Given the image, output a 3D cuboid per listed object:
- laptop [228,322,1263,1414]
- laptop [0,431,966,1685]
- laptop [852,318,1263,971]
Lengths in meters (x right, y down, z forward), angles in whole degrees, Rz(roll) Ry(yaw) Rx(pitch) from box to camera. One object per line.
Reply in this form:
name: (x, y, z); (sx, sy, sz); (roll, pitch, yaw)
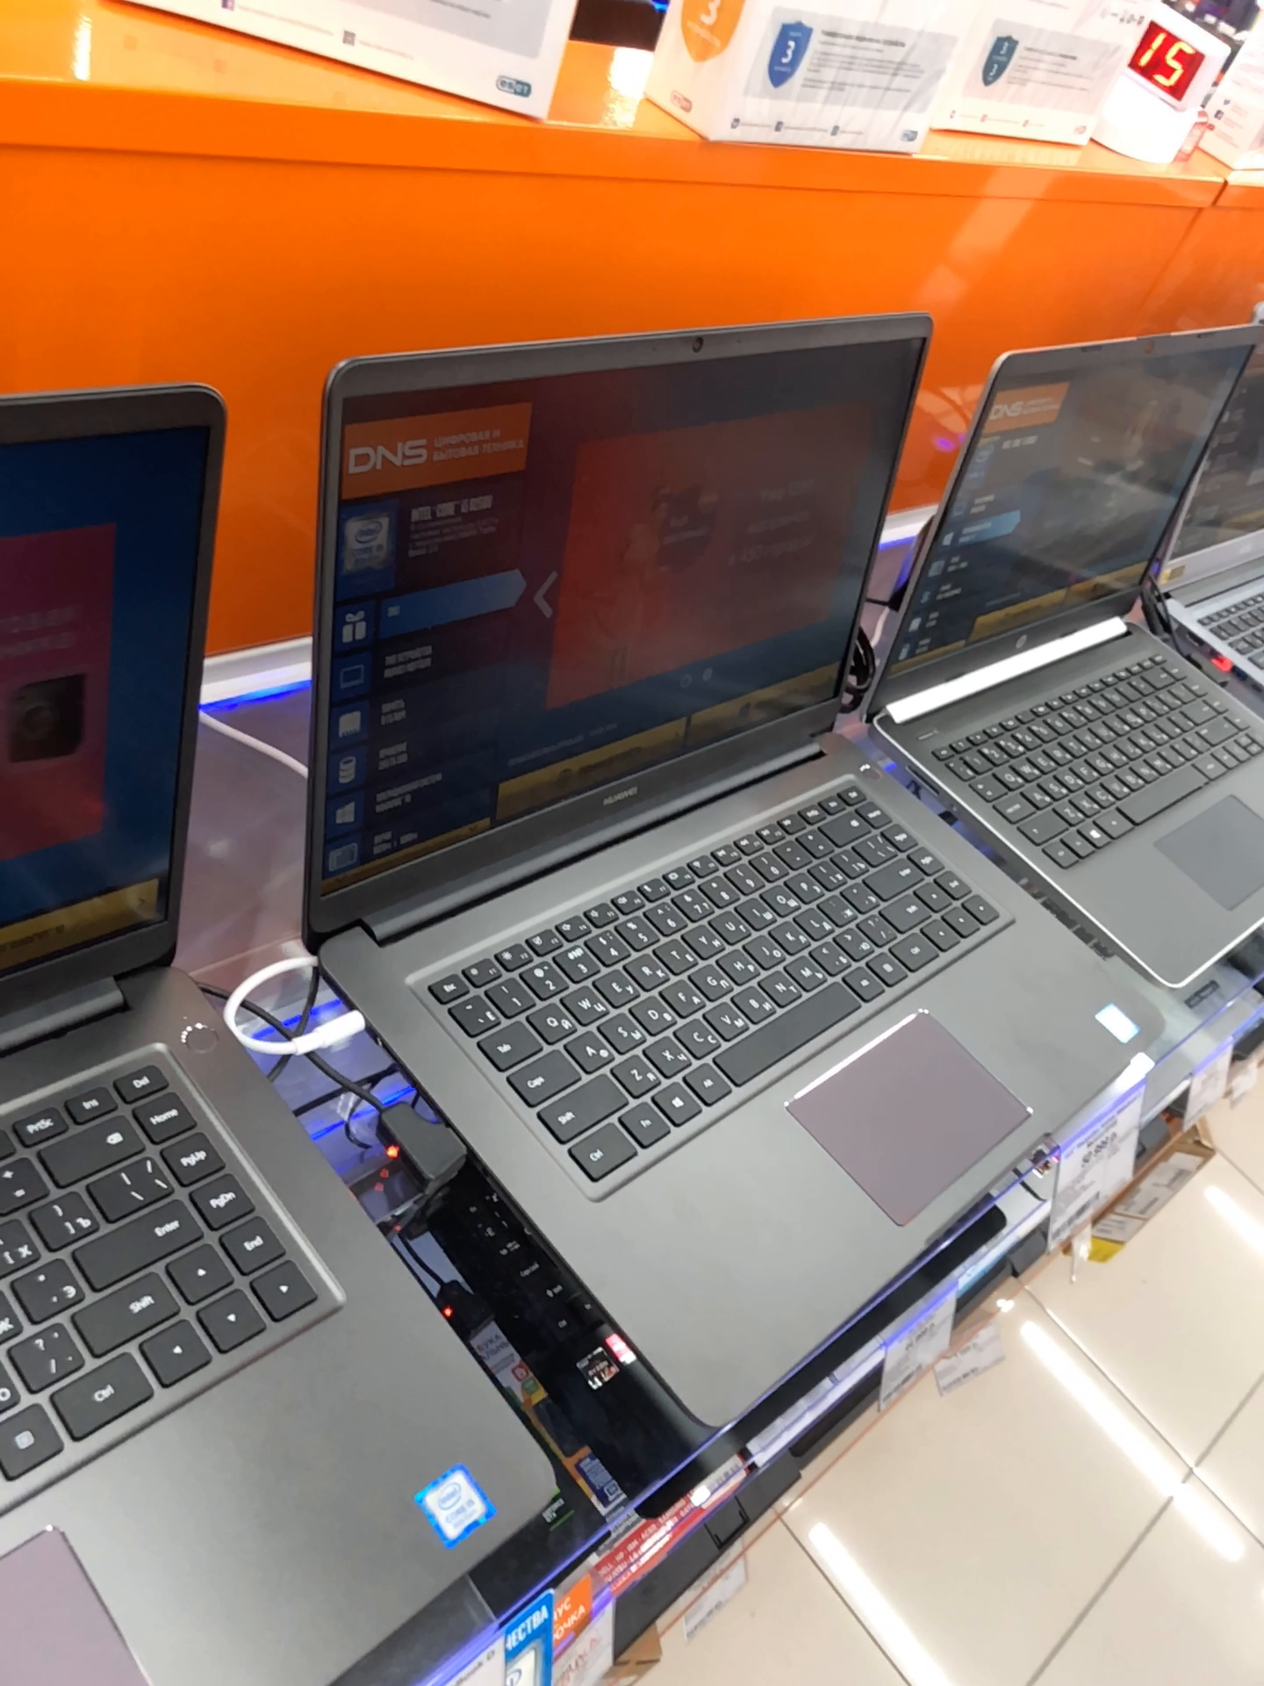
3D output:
laptop: (0.082, -0.029, 0.557); (0.340, 0.212, 0.287); (-24, 60, -42)
laptop: (-0.187, 0.090, 0.283); (0.357, 0.230, 0.241); (-24, 59, -42)
laptop: (0.335, -0.128, 0.787); (0.270, 0.195, 0.243); (-21, 59, -37)
